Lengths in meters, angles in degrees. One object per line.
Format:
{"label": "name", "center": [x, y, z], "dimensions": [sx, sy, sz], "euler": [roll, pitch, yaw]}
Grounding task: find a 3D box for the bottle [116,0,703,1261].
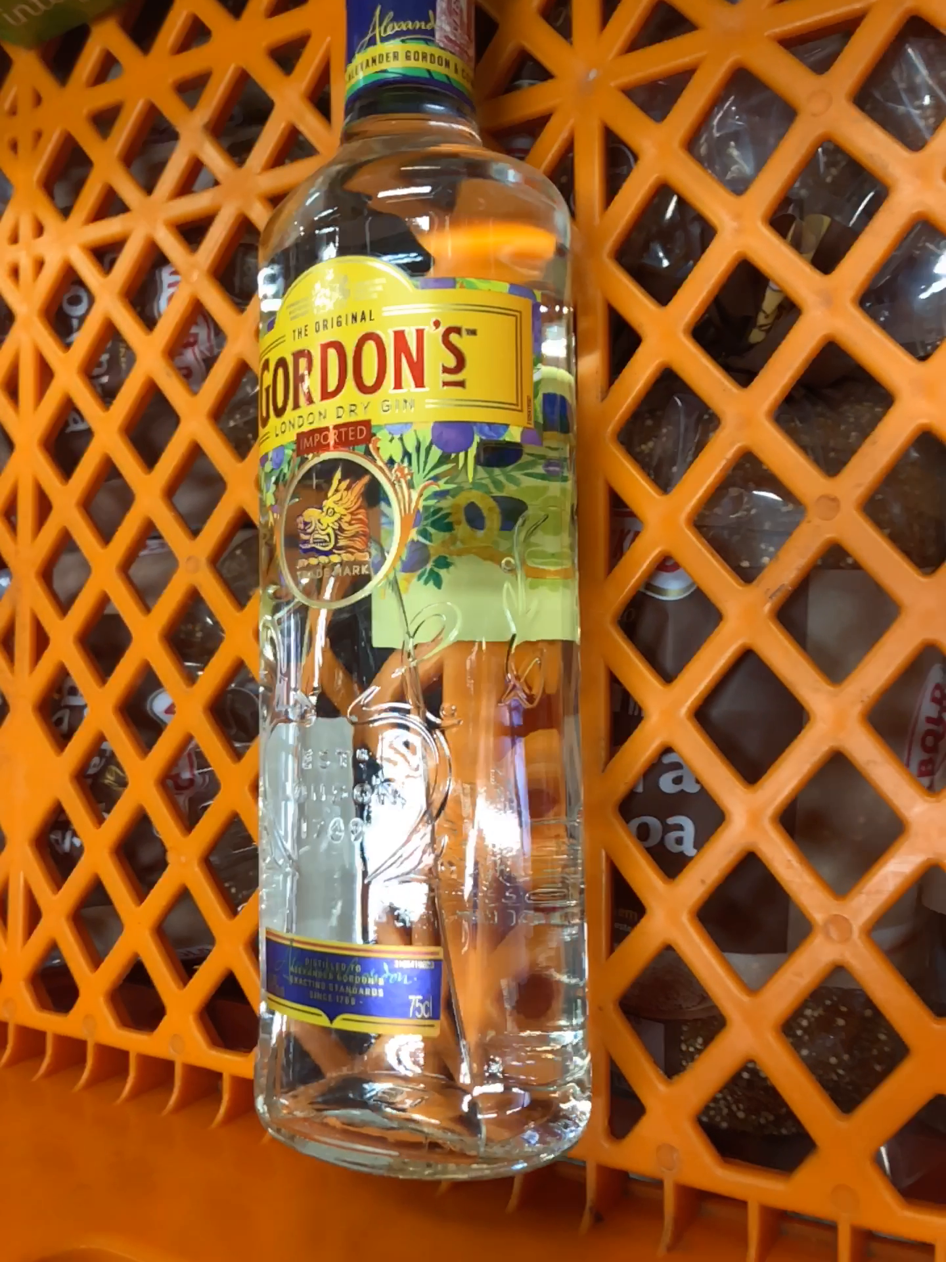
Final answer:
{"label": "bottle", "center": [-0.010, -0.038, 0.252], "dimensions": [0.100, 0.100, 0.310], "euler": [-2, 88, 27]}
